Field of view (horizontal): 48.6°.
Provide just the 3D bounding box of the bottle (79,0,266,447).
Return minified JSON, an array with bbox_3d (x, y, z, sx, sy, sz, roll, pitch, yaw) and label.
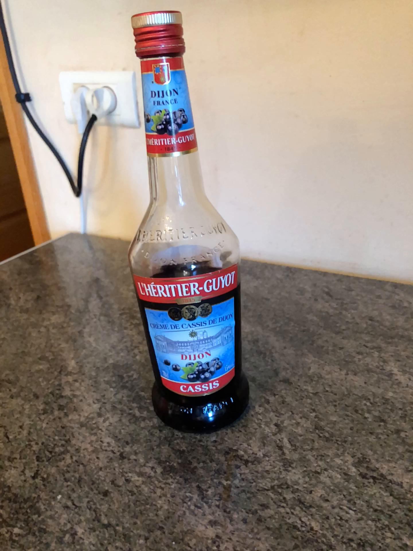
[{"bbox_3d":[-0.013,-0.027,0.337,0.090,0.298,0.090,-4,24,2],"label":"bottle"}]
